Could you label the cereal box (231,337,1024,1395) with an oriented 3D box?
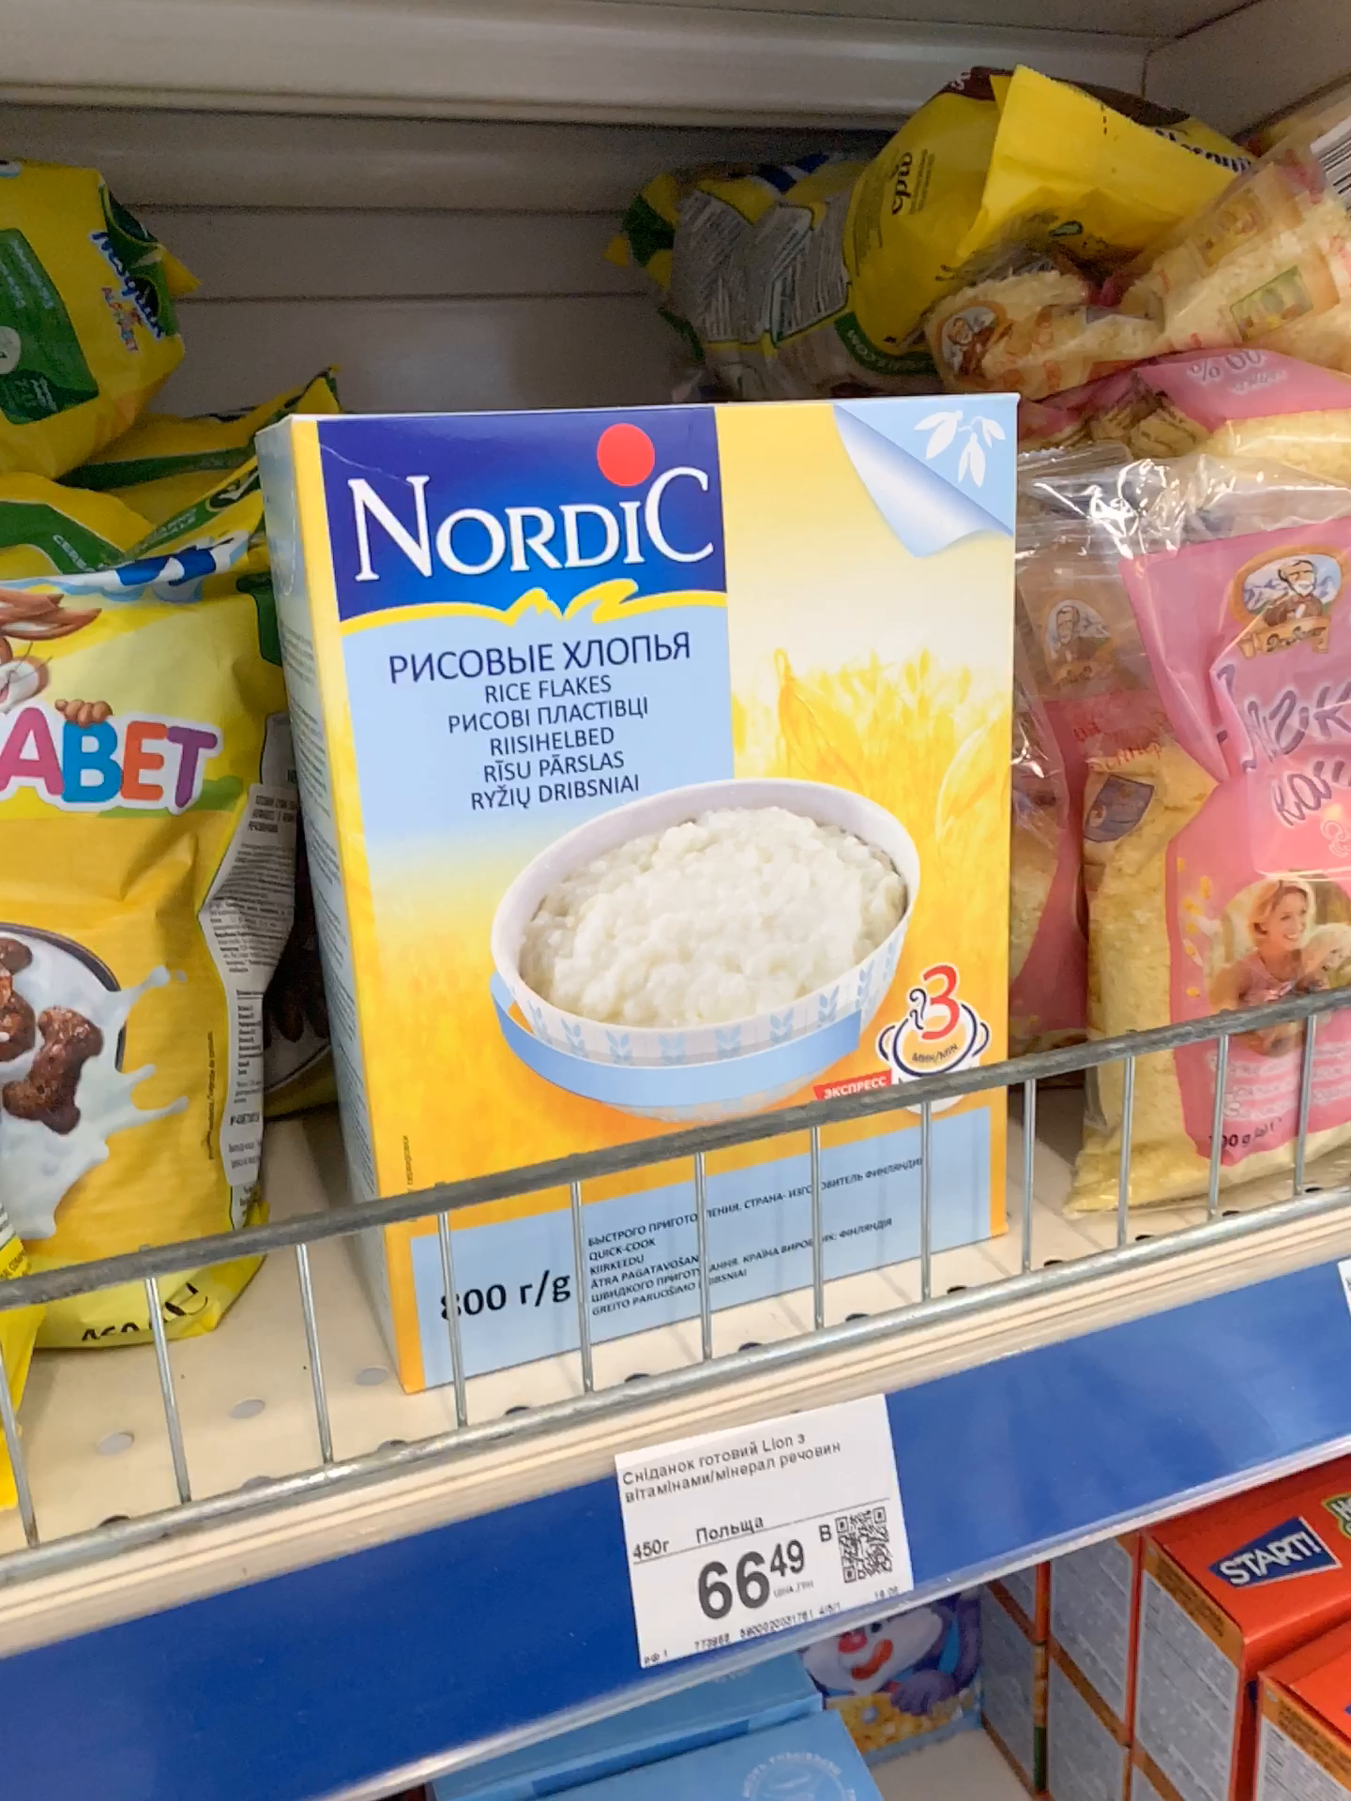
[{"bbox_3d":[-0.007,-0.016,0.322,0.150,0.199,0.080,-9,15,-19],"label":"cereal box"}]
